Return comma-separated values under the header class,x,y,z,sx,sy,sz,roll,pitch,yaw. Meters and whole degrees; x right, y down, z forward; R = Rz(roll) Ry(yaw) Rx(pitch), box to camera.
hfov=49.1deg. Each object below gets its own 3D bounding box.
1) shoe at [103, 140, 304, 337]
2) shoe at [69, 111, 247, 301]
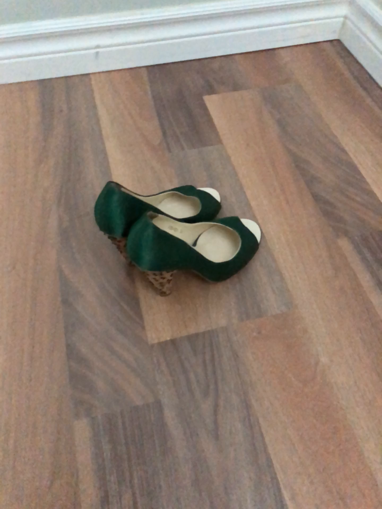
class,x,y,z,sx,sy,sz,roll,pitch,yaw
shoe,0.018,-0.020,0.508,0.210,0.130,0.090,-34,62,-22
shoe,-0.033,-0.066,0.549,0.090,0.130,0.210,36,62,21
